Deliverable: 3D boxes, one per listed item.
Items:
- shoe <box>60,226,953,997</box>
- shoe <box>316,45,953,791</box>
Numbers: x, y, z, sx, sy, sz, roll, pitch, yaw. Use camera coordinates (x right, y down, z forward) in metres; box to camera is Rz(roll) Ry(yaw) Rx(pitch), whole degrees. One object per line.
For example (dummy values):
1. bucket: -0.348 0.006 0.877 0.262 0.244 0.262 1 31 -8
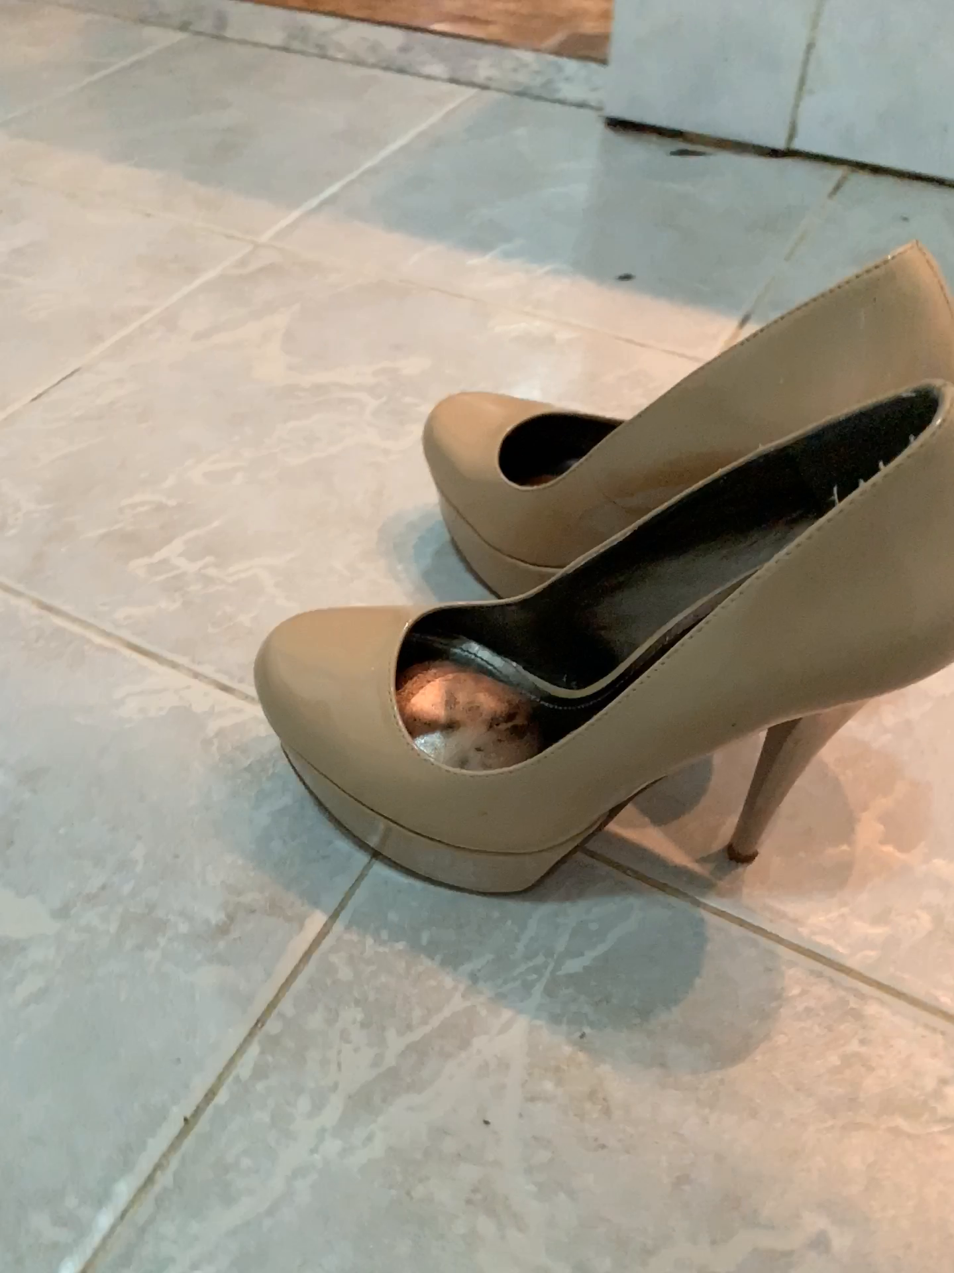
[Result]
1. shoe: 0.023 -0.003 0.280 0.210 0.166 0.087 13 48 12
2. shoe: 0.060 -0.079 0.347 0.210 0.176 0.087 30 54 25
